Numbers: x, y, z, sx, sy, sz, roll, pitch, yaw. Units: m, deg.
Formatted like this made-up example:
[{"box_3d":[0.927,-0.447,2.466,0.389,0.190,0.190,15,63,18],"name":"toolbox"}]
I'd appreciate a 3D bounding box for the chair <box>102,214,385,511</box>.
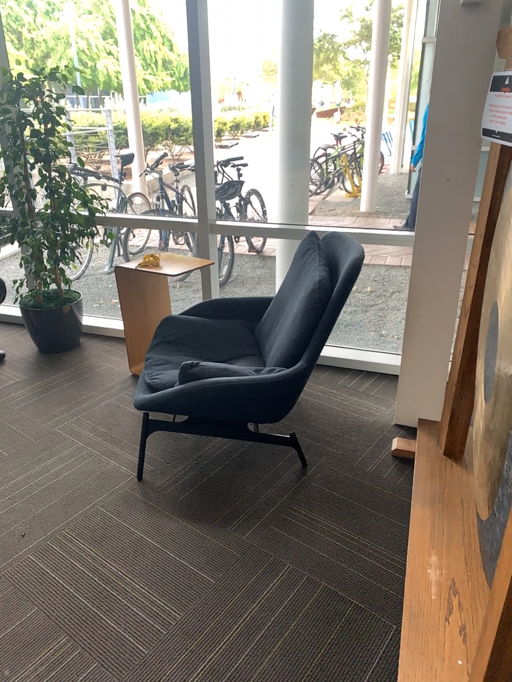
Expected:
[{"box_3d":[-0.058,0.030,2.346,0.940,0.995,0.905,-2,24,-3],"name":"chair"}]
